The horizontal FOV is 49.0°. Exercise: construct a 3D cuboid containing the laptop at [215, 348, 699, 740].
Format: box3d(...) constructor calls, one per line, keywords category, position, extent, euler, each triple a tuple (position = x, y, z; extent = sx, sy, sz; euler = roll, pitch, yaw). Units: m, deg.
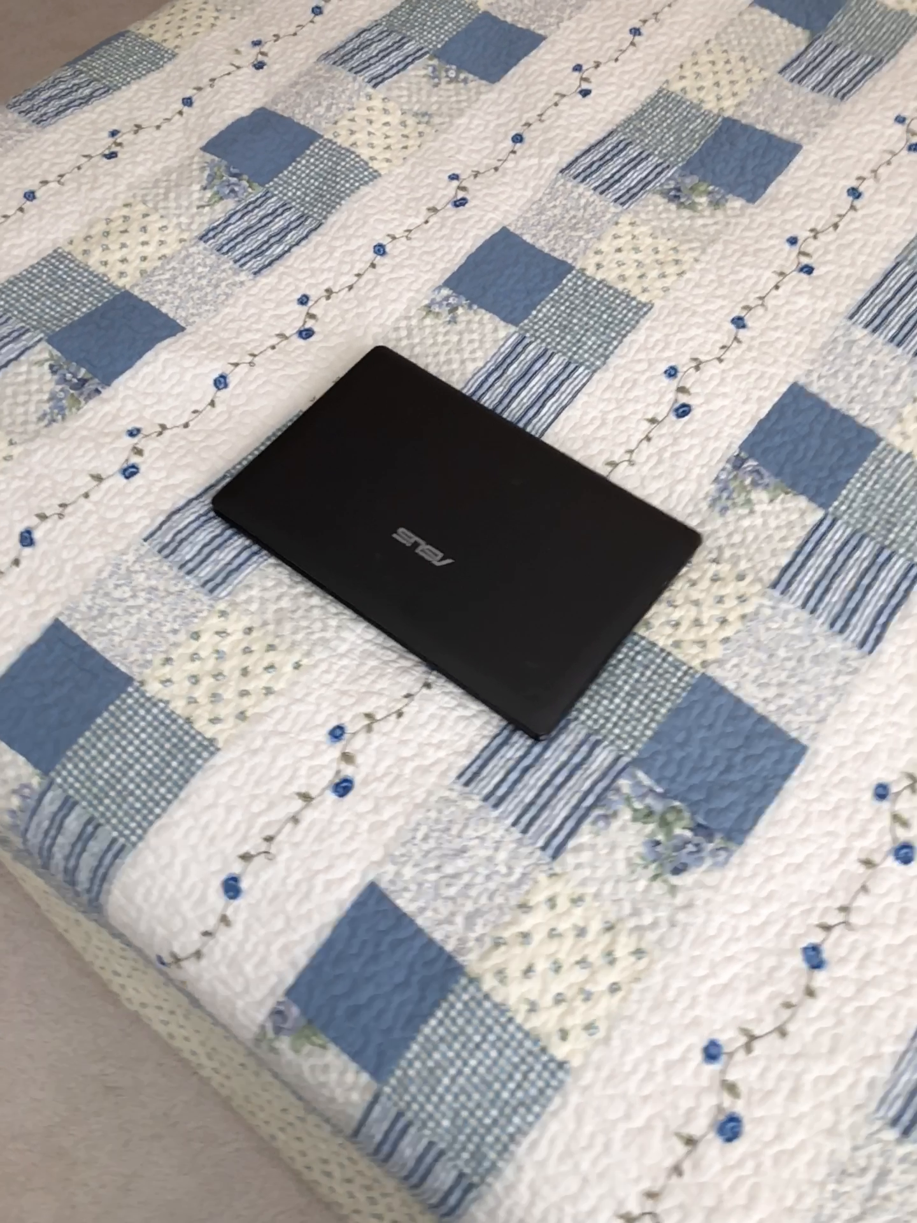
box3d(category="laptop", position=(-0.005, -0.080, 0.900), extent=(0.369, 0.006, 0.235), euler=(34, 67, 19))
